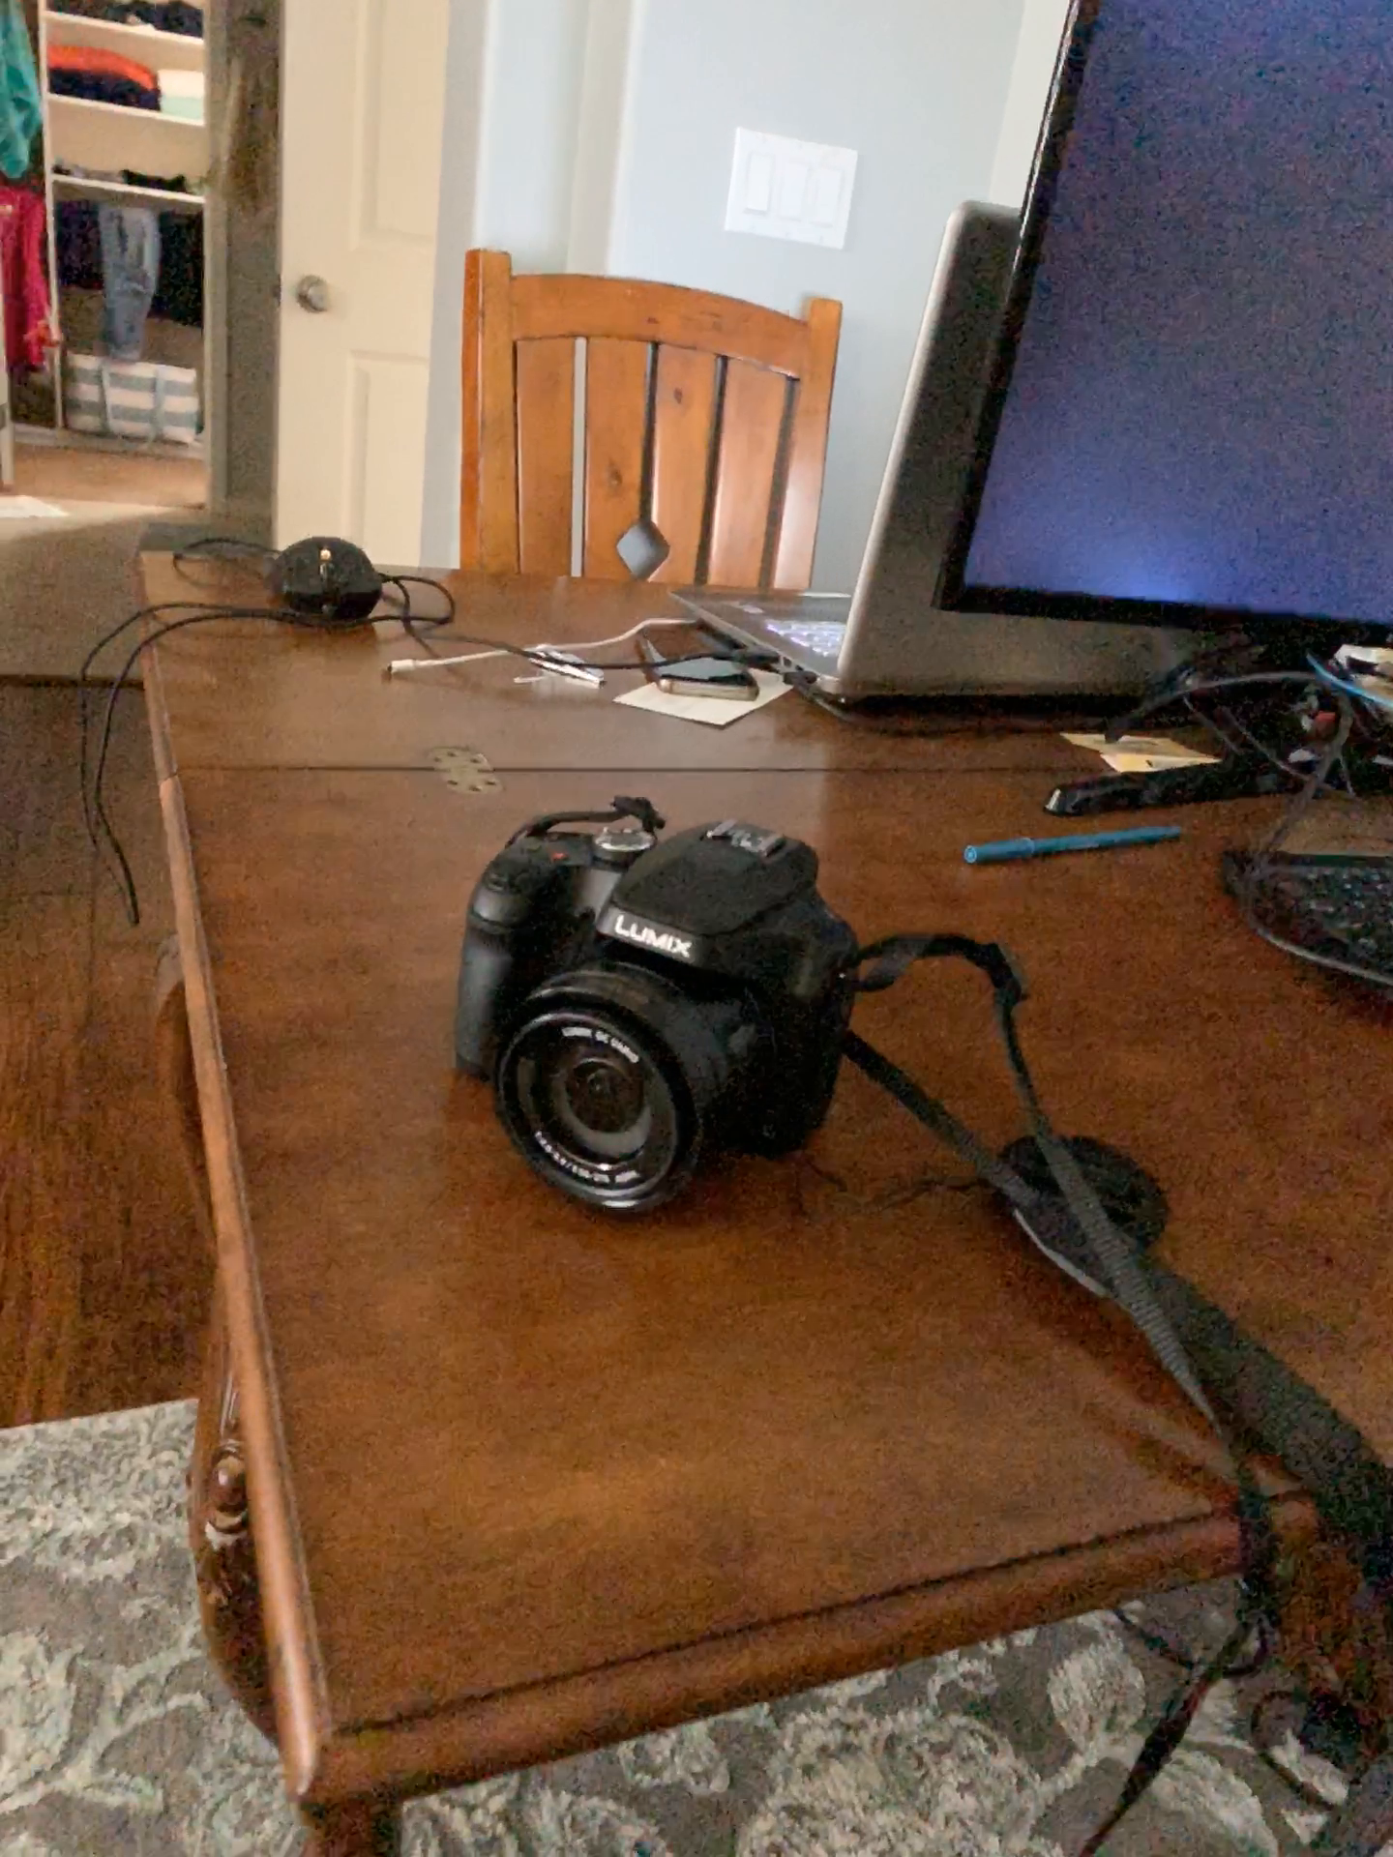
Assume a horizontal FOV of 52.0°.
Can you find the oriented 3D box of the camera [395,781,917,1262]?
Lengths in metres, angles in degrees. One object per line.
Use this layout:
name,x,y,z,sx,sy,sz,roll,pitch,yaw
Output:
camera,-0.012,0.023,0.479,0.130,0.089,0.111,17,26,18
